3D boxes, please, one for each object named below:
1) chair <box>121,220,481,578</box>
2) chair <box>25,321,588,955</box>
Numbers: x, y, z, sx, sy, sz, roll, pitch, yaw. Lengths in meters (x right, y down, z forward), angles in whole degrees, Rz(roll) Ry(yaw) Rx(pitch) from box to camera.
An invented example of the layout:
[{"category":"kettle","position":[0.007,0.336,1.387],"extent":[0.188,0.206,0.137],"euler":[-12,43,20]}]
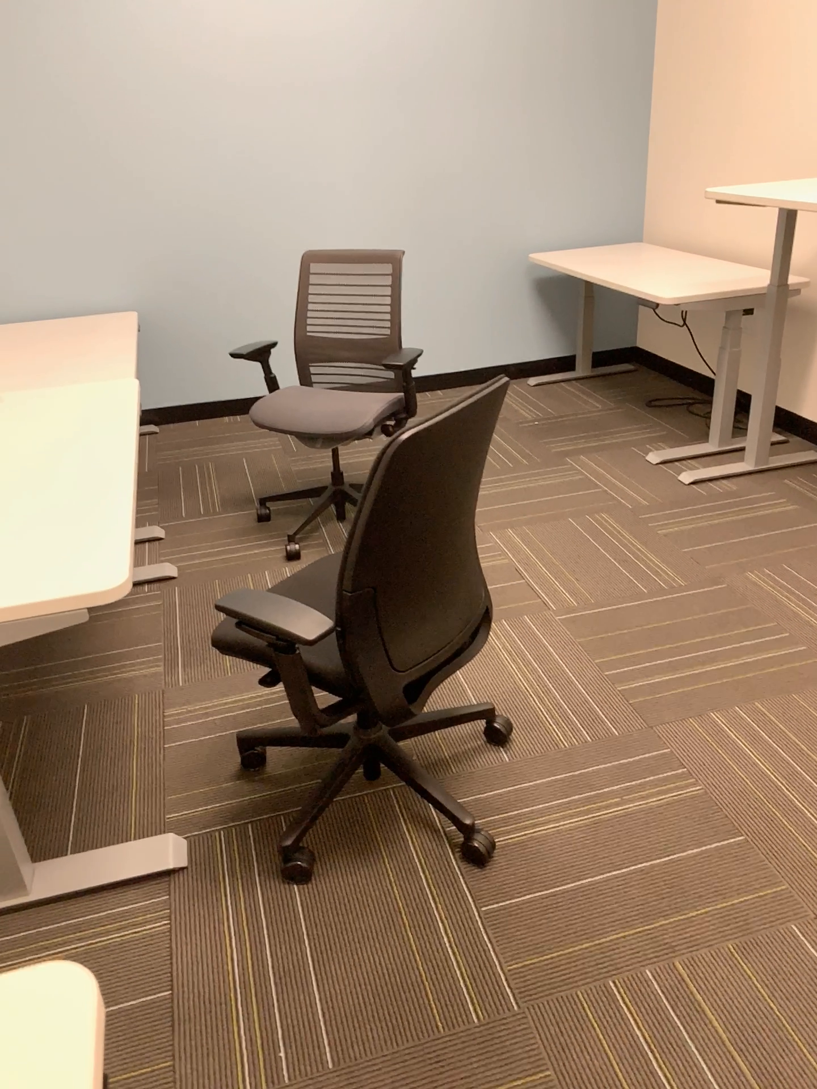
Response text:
[{"category":"chair","position":[-0.310,-0.573,2.955],"extent":[0.892,0.994,0.773],"euler":[10,29,25]},{"category":"chair","position":[-0.130,0.105,1.719],"extent":[0.772,0.934,0.682],"euler":[11,30,27]}]
